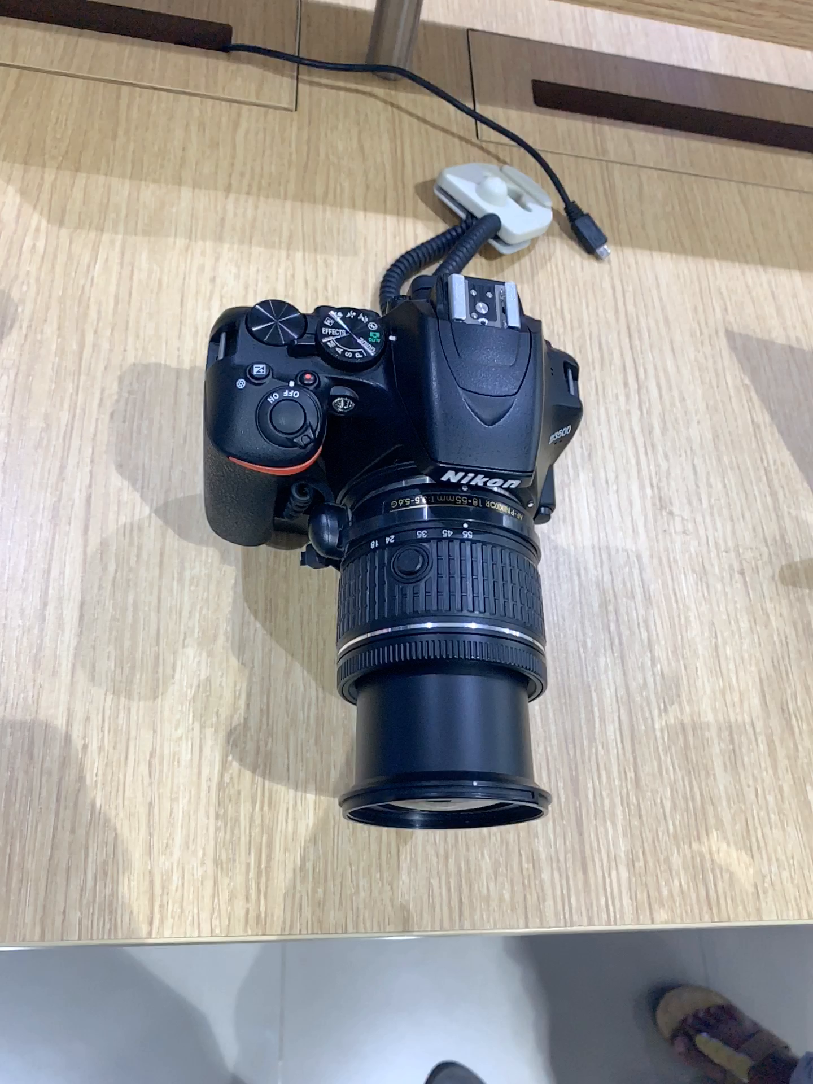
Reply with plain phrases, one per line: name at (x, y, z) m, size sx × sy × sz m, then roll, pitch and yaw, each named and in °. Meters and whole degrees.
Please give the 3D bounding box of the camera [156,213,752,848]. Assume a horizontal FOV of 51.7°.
camera at (0.000, 0.006, 0.230) m, size 0.115 × 0.100 × 0.136 m, roll 3°, pitch 64°, yaw -11°
